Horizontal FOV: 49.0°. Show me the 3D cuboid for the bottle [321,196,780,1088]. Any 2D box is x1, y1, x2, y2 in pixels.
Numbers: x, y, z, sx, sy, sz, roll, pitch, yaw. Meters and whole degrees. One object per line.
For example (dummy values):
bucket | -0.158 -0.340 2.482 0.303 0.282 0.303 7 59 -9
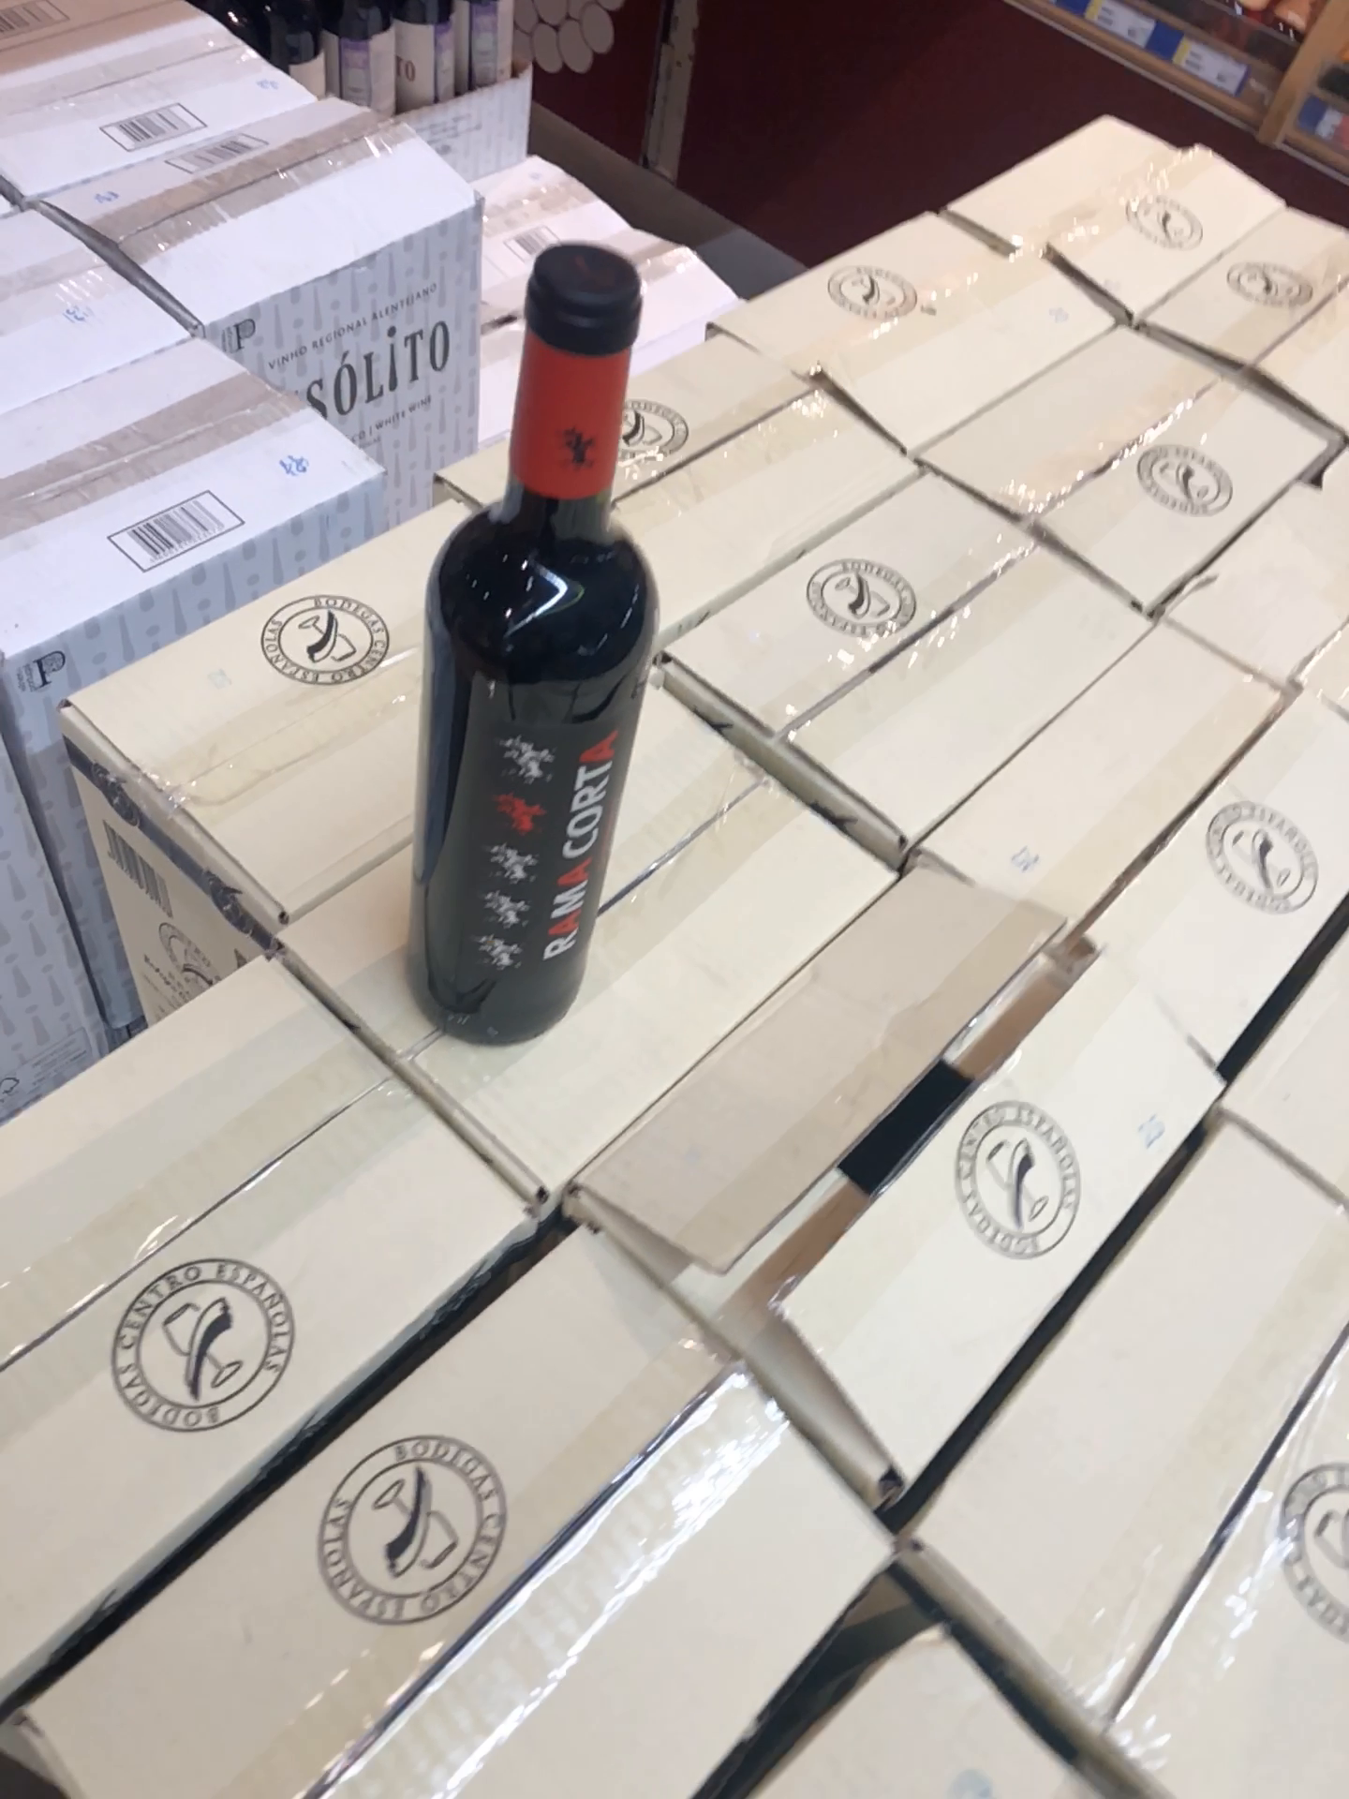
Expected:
bottle | -0.053 -0.060 0.484 0.090 0.298 0.090 5 54 -7
